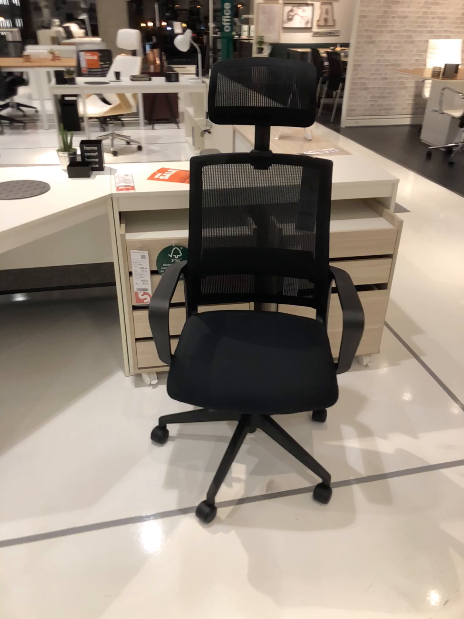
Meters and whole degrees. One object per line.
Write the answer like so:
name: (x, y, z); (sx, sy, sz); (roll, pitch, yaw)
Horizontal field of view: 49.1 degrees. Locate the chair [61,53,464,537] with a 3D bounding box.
chair: (0.052, -0.048, 1.396); (0.660, 1.131, 0.665); (1, 29, 1)
